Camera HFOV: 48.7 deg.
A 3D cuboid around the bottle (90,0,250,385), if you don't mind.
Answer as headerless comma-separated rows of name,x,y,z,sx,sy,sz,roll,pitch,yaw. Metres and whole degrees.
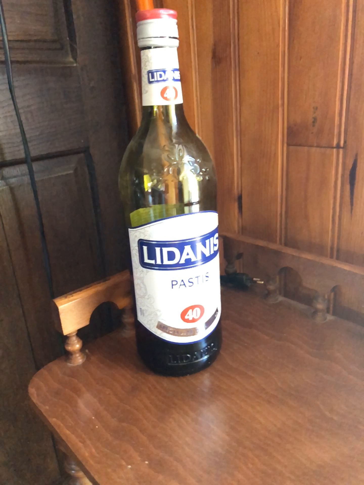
bottle,-0.004,-0.039,0.342,0.090,0.299,0.080,-12,22,-20
